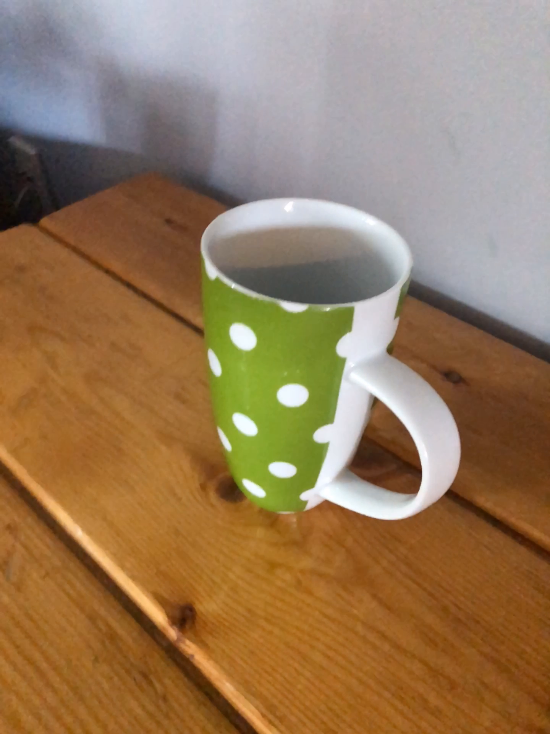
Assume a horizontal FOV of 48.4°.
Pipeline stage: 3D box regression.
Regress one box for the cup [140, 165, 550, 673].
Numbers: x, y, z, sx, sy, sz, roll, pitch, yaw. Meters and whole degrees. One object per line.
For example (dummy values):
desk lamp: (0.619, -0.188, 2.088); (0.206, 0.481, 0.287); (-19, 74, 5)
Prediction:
cup: (0.030, 0.017, 0.283); (0.100, 0.150, 0.150); (-28, 50, -28)
